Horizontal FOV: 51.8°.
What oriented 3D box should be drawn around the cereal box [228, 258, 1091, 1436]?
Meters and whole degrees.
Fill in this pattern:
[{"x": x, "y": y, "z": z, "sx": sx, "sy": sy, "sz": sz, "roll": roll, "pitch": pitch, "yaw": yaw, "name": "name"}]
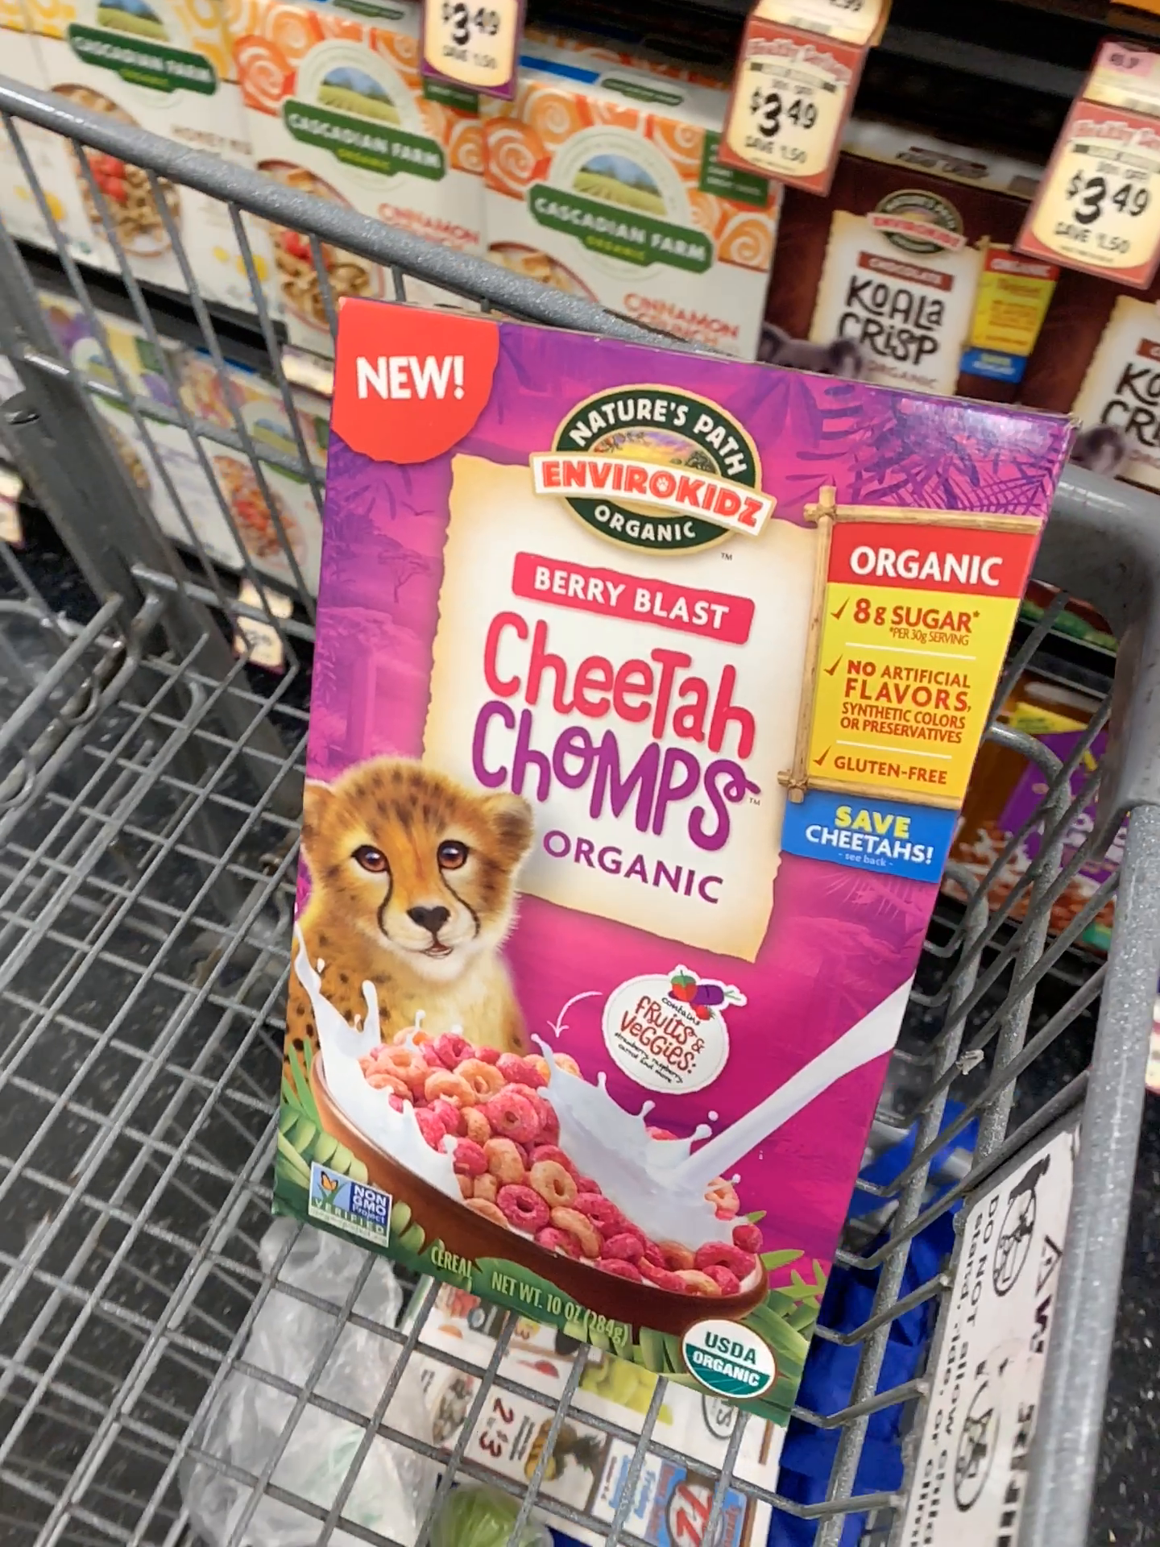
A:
[{"x": 0.006, "y": 0.019, "z": 0.302, "sx": 0.160, "sy": 0.250, "sz": 0.060, "roll": 16, "pitch": 20, "yaw": 15, "name": "cereal box"}]
